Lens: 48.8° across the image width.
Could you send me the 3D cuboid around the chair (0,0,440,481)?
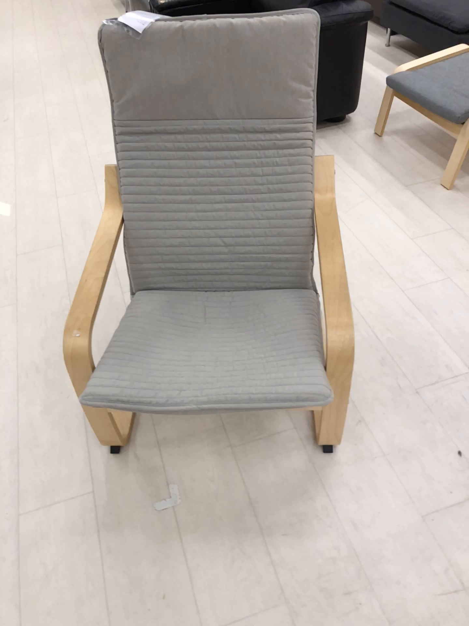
[{"bbox_3d":[-0.056,-0.176,1.267,0.730,0.996,0.703,0,44,5],"label":"chair"}]
